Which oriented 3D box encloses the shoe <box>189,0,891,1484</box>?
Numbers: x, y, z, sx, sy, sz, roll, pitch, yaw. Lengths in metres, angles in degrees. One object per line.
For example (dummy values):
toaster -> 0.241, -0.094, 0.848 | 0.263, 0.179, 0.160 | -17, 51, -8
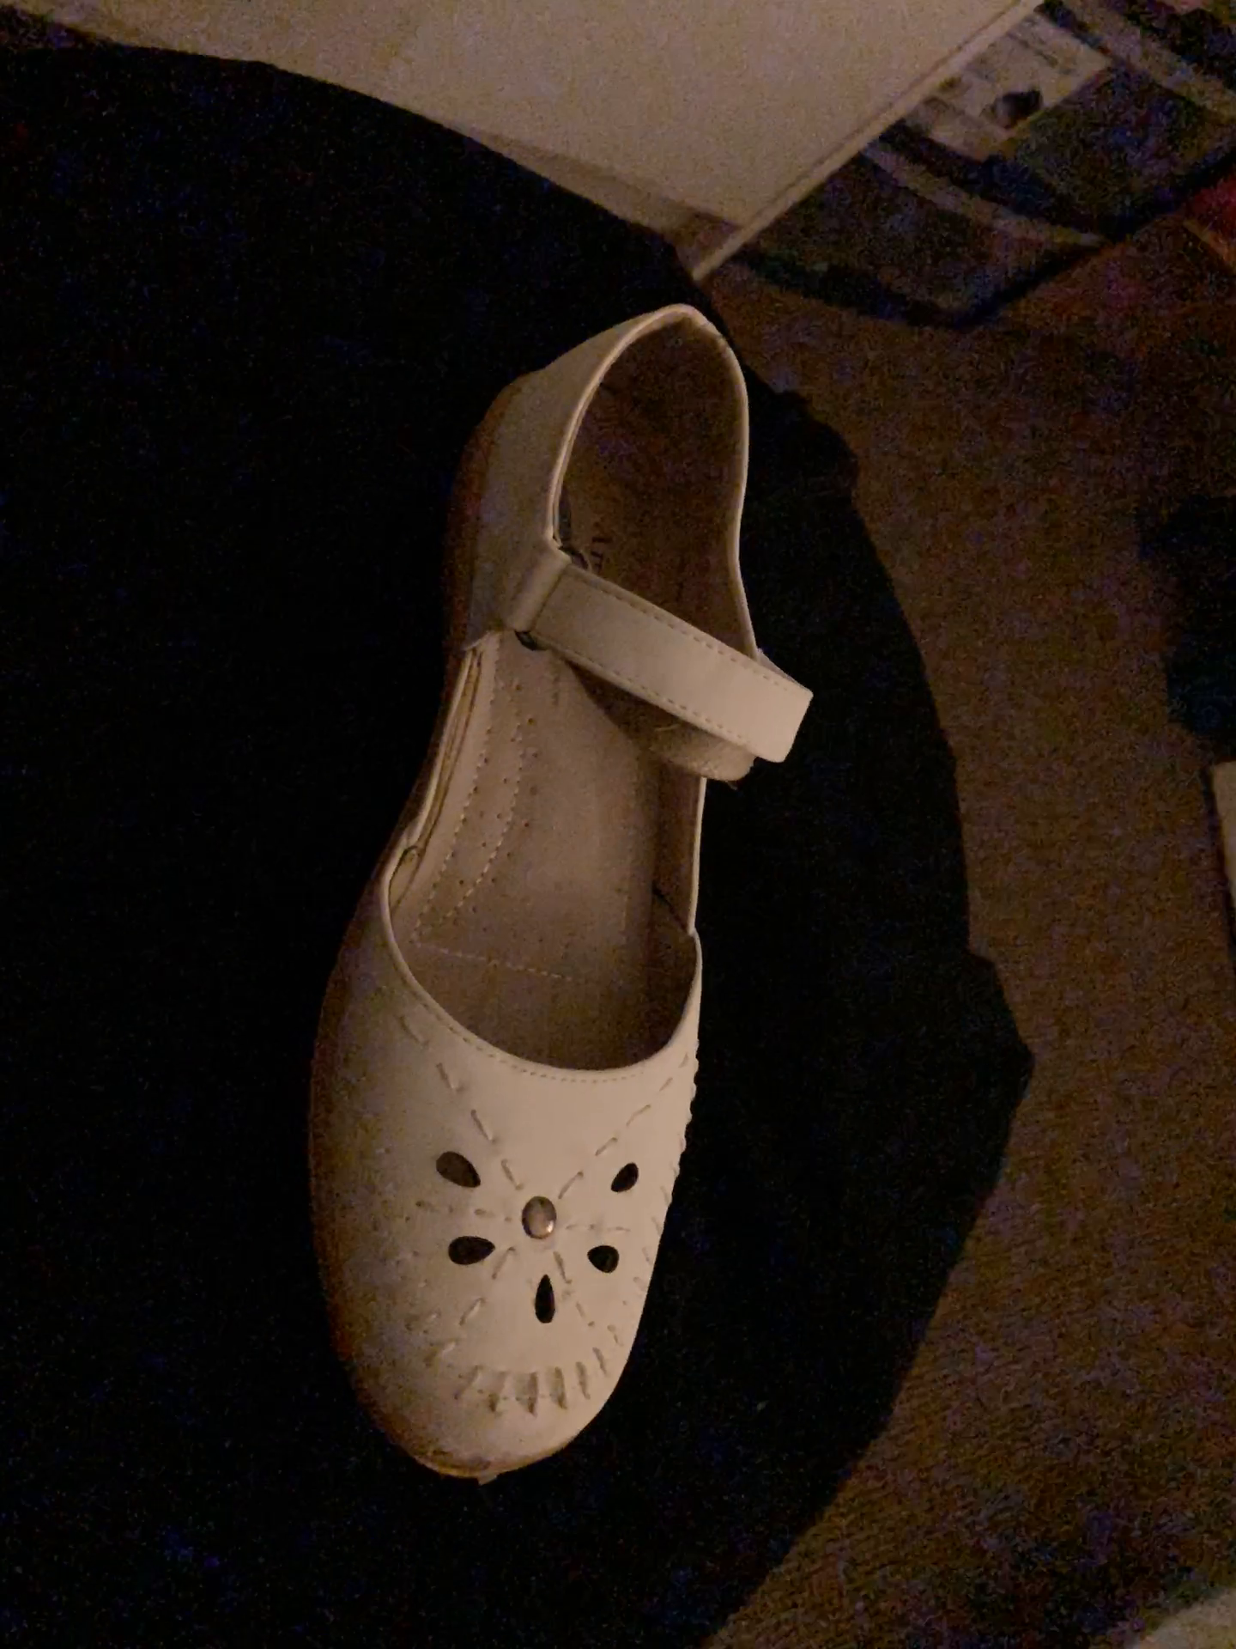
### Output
shoe -> -0.013, -0.019, 0.282 | 0.097, 0.099, 0.271 | 13, 71, -33
